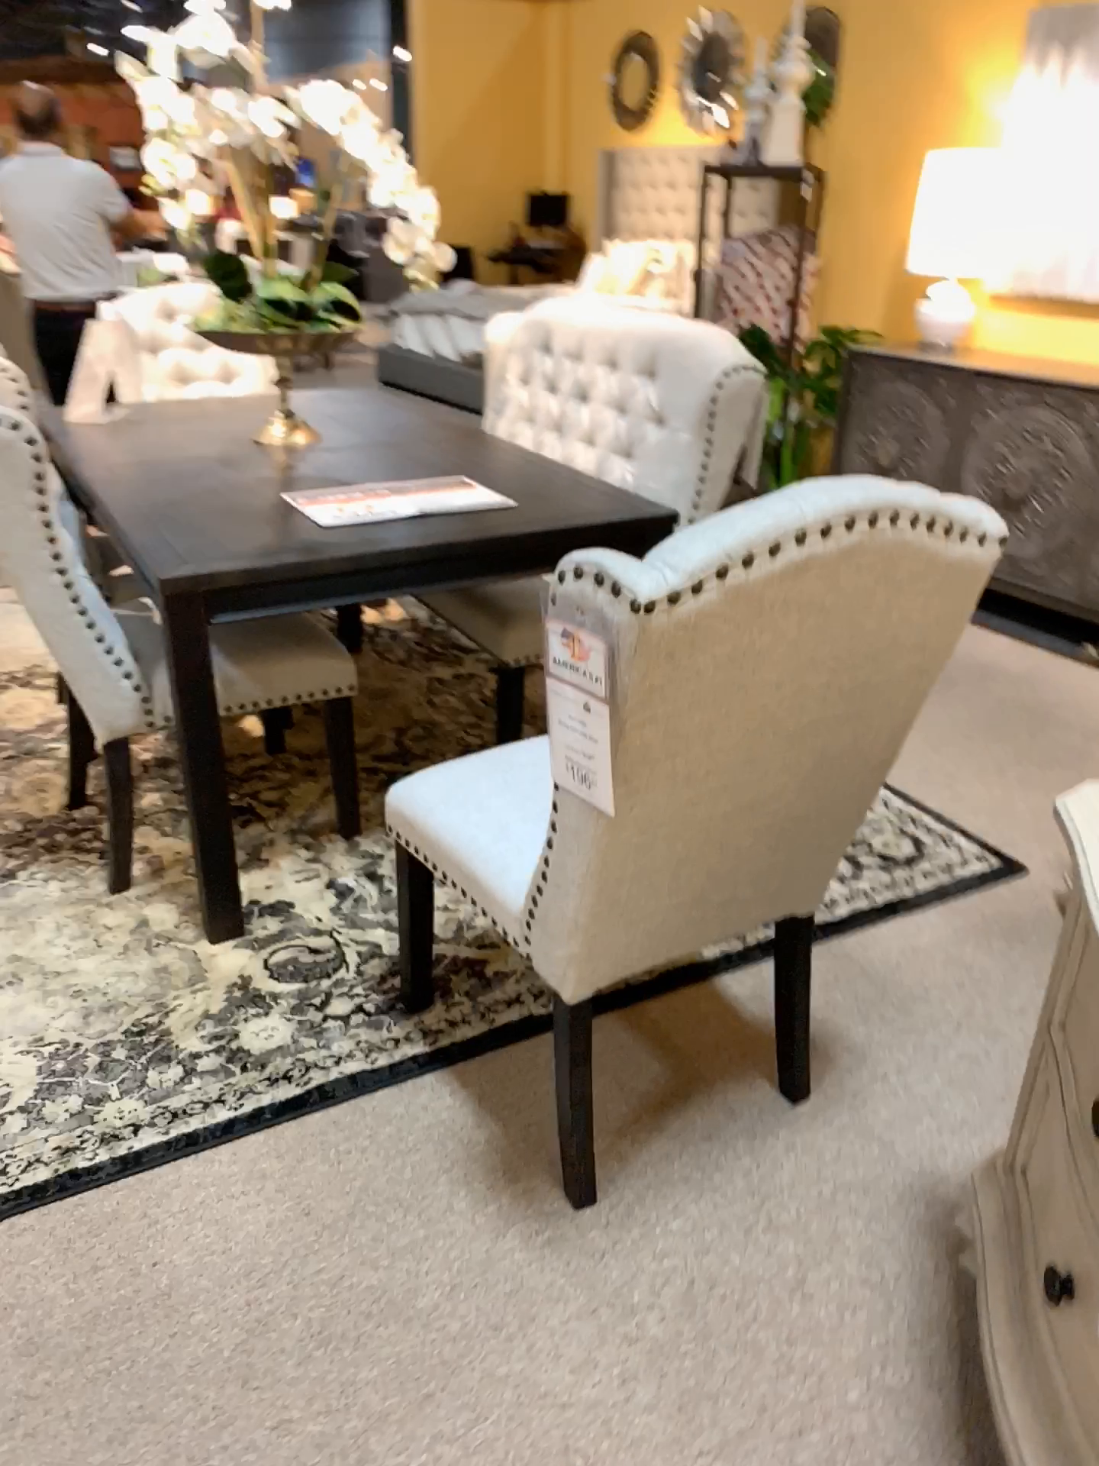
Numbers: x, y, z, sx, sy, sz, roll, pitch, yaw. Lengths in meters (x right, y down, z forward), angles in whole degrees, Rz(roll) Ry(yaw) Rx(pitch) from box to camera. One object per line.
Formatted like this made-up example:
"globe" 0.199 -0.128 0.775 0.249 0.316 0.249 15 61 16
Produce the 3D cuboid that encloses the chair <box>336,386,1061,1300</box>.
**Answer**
"chair" 0.131 0.069 1.638 0.587 0.973 0.744 -13 28 -27
